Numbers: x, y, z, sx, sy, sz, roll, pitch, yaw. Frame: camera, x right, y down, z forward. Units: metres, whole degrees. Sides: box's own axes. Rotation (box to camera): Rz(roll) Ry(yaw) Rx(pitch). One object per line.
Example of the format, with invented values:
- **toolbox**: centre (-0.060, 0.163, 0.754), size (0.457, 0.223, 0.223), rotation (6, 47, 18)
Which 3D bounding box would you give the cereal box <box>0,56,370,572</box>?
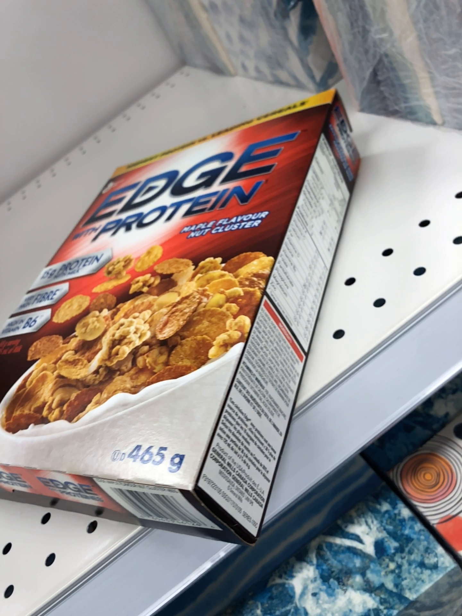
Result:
- **cereal box**: centre (-0.055, -0.018, 0.302), size (0.221, 0.050, 0.270), rotation (-7, 45, 35)
